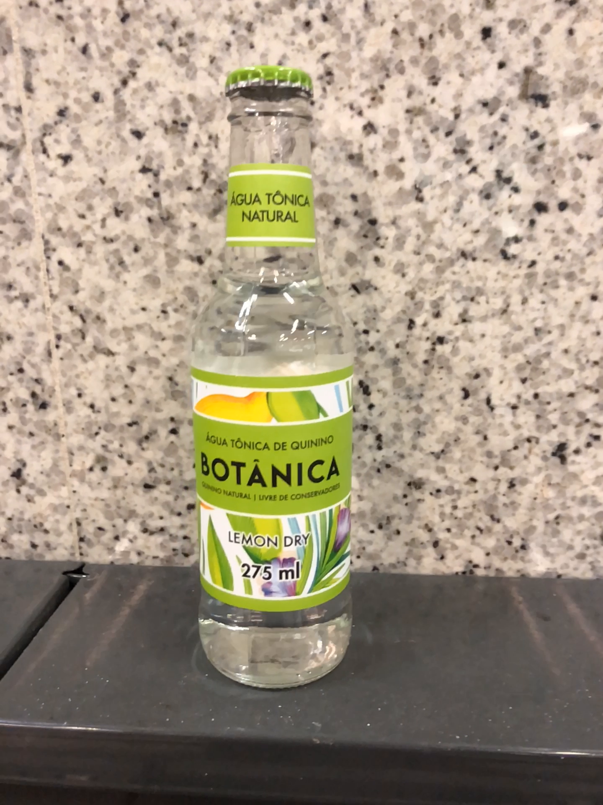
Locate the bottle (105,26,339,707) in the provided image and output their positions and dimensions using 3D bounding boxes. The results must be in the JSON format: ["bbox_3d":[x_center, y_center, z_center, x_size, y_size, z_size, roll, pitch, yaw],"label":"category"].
[{"bbox_3d":[-0.020,-0.005,0.231,0.060,0.209,0.060,0,16,0],"label":"bottle"}]
